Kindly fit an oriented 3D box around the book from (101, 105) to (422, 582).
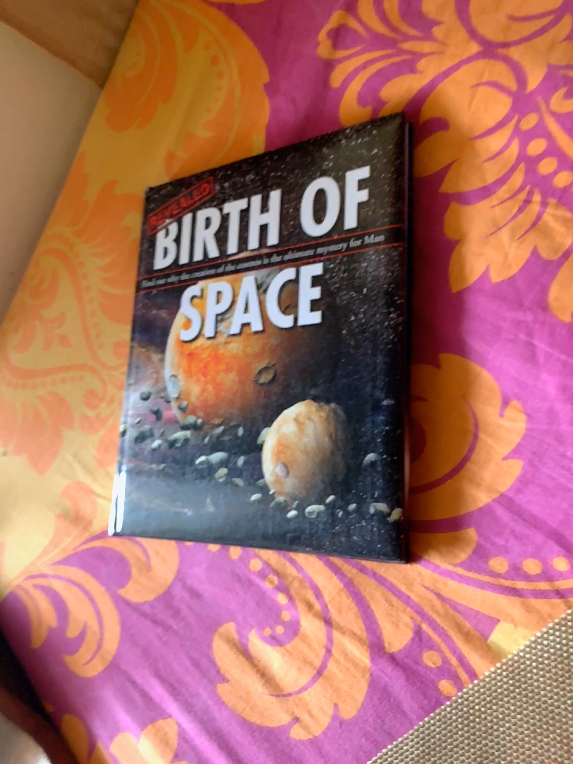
[{"bbox_3d":[-0.021,-0.022,0.374,0.212,0.020,0.258,-4,77,31],"label":"book"}]
